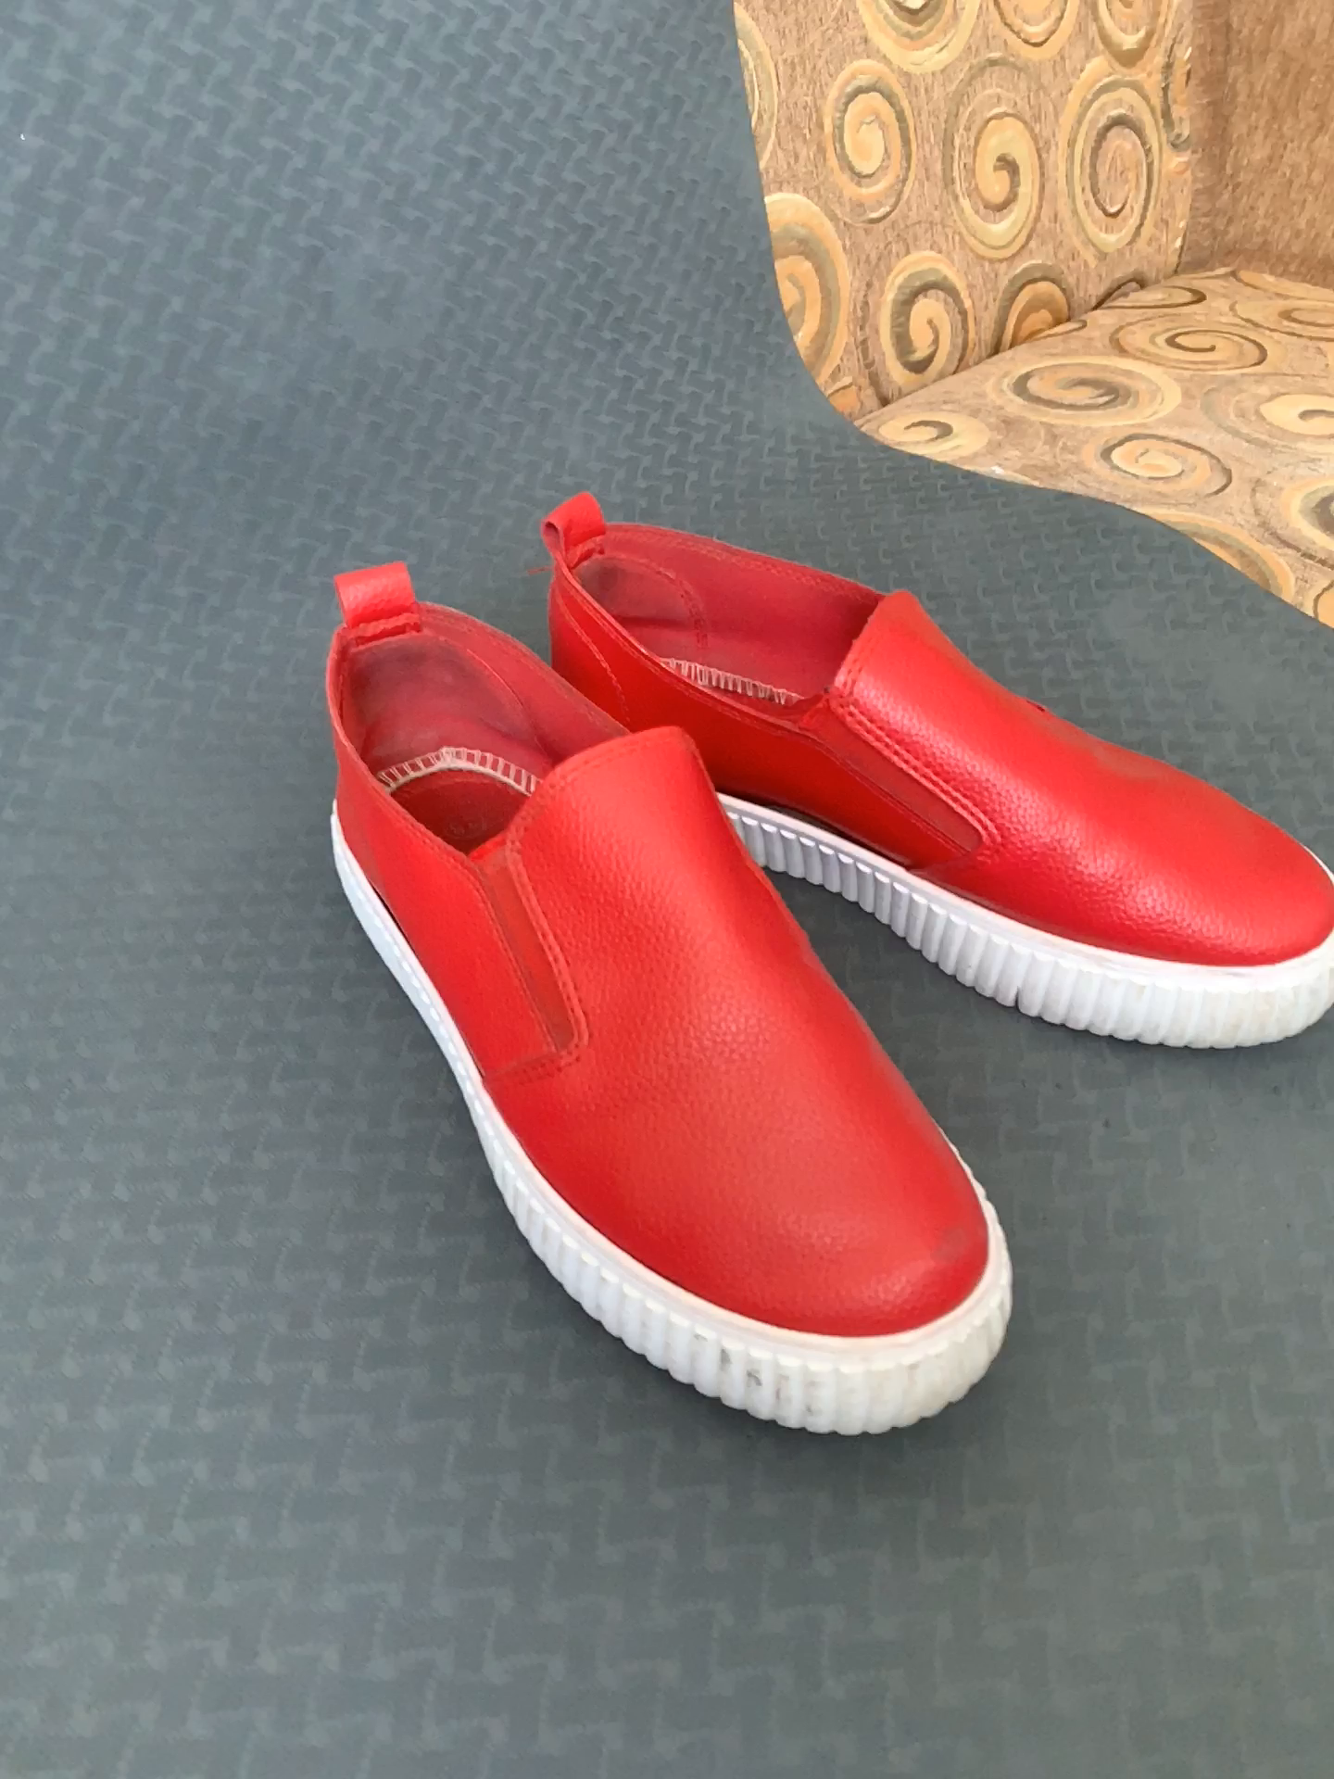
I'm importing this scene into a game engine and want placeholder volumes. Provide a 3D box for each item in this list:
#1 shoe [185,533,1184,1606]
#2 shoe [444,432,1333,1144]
[{"bbox_3d":[-0.015,0.017,0.318,0.095,0.070,0.241,-24,52,-24],"label":"shoe"},{"bbox_3d":[0.069,-0.038,0.368,0.240,0.070,0.096,23,49,19],"label":"shoe"}]
